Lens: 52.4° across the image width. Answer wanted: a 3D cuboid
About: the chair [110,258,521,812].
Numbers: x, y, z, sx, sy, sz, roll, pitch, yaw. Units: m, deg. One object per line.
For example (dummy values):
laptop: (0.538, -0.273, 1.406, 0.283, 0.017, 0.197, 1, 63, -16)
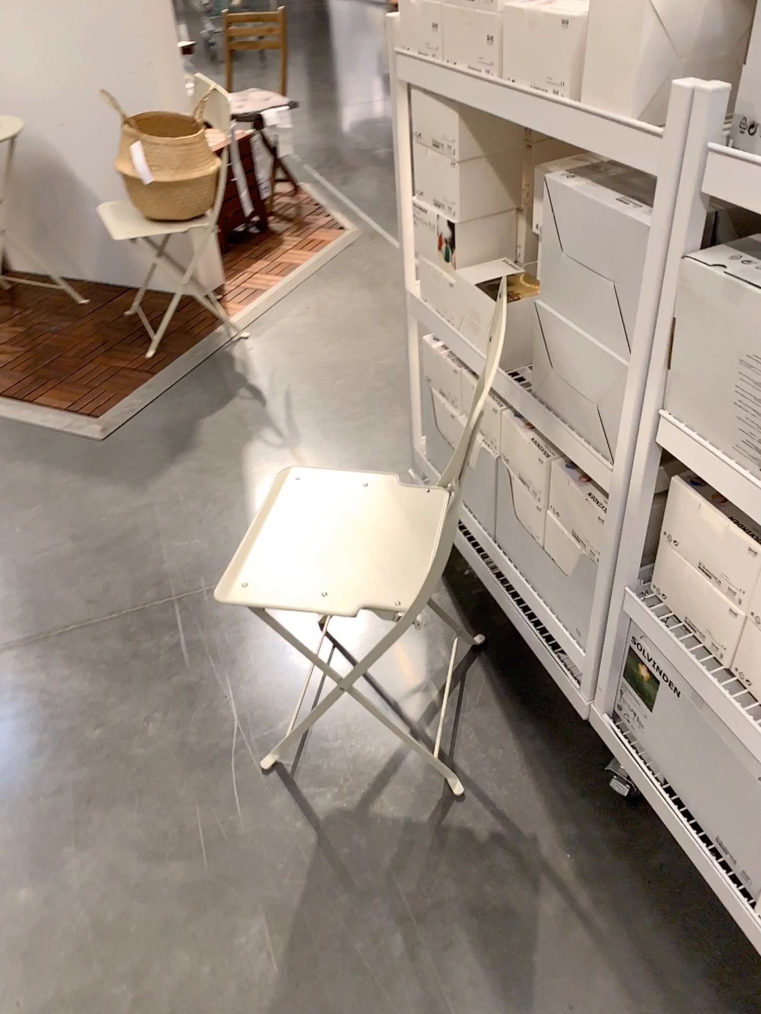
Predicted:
chair: (-0.033, 0.056, 1.291, 0.457, 0.783, 0.439, 5, 39, 12)
